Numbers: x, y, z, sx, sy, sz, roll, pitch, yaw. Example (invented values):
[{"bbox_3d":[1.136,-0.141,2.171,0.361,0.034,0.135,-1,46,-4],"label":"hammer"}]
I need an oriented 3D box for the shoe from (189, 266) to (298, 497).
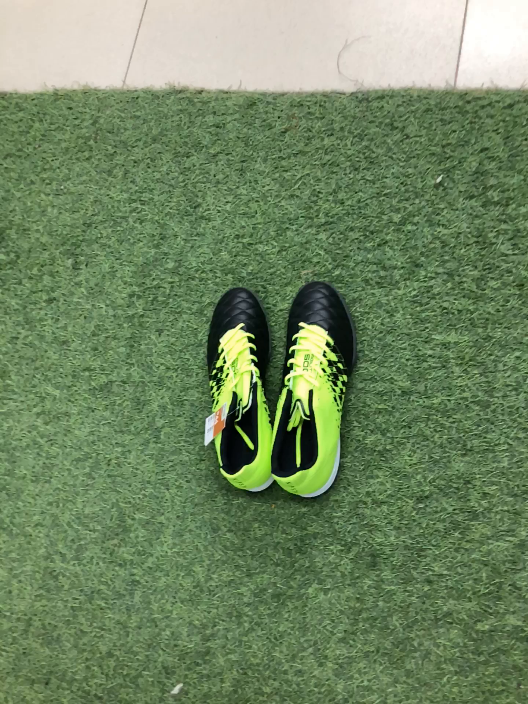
[{"bbox_3d":[-0.029,0.042,0.767,0.100,0.090,0.281,-10,72,17],"label":"shoe"}]

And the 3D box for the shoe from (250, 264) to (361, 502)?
[{"bbox_3d":[0.058,0.040,0.732,0.100,0.090,0.280,0,75,19],"label":"shoe"}]
